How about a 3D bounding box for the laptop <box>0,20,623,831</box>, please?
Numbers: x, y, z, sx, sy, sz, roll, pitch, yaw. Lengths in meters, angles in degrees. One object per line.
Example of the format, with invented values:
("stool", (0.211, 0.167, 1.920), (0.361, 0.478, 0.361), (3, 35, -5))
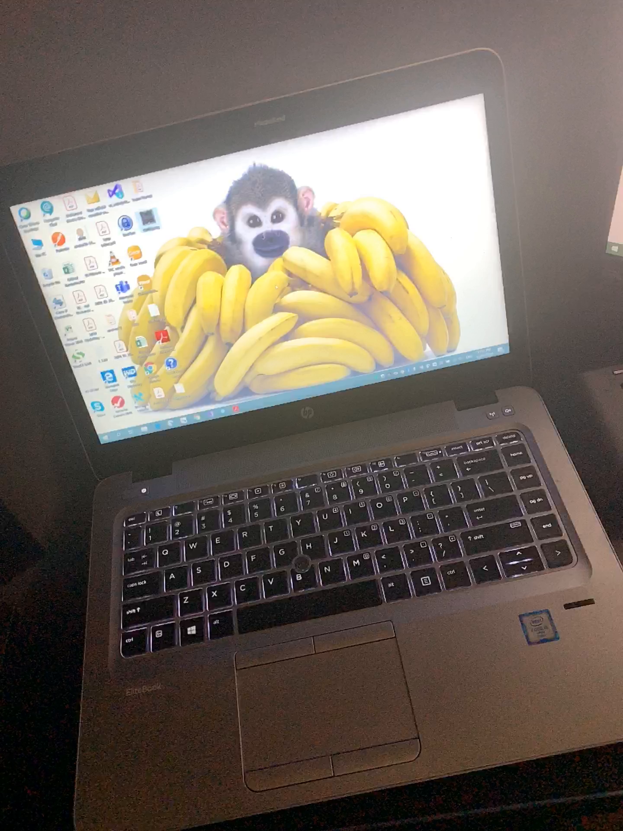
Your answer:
("laptop", (-0.028, -0.005, 0.354), (0.318, 0.191, 0.327), (-13, 51, 3))
